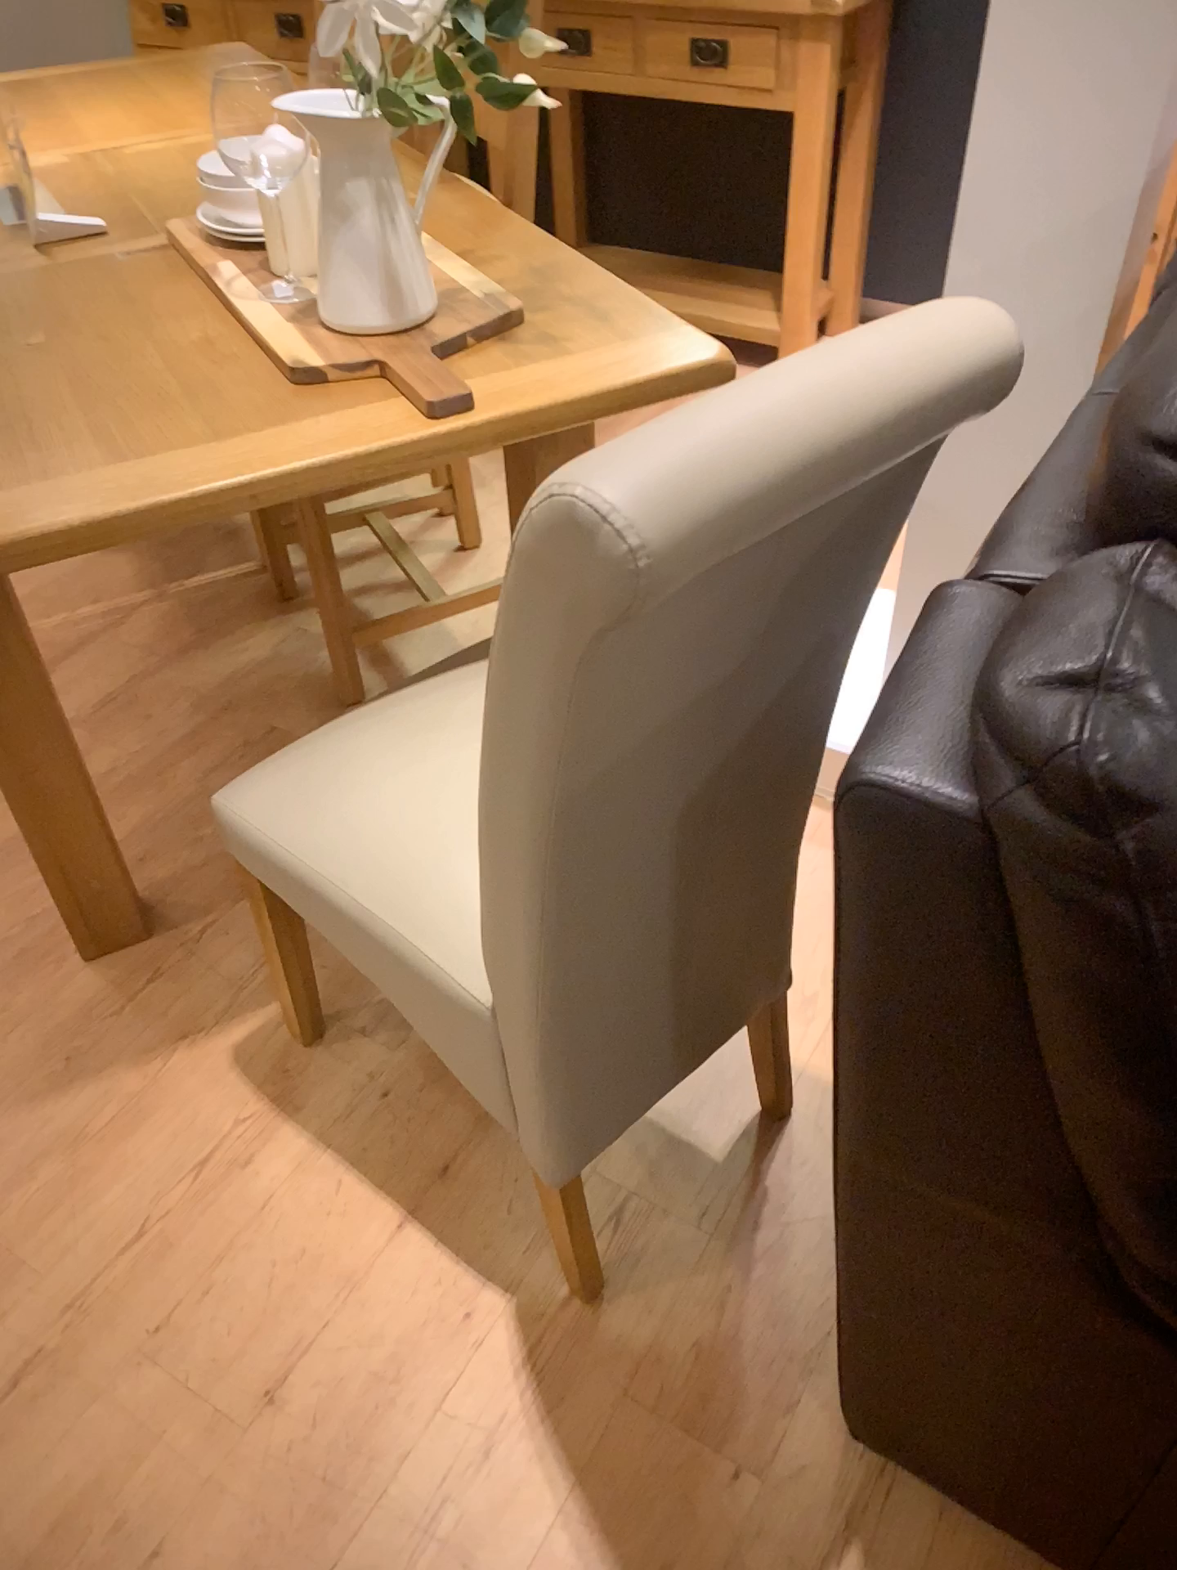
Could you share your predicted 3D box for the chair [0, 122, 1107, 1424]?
[{"bbox_3d":[-0.043,-0.006,1.131,0.477,0.943,0.637,-32,49,-29],"label":"chair"}]
